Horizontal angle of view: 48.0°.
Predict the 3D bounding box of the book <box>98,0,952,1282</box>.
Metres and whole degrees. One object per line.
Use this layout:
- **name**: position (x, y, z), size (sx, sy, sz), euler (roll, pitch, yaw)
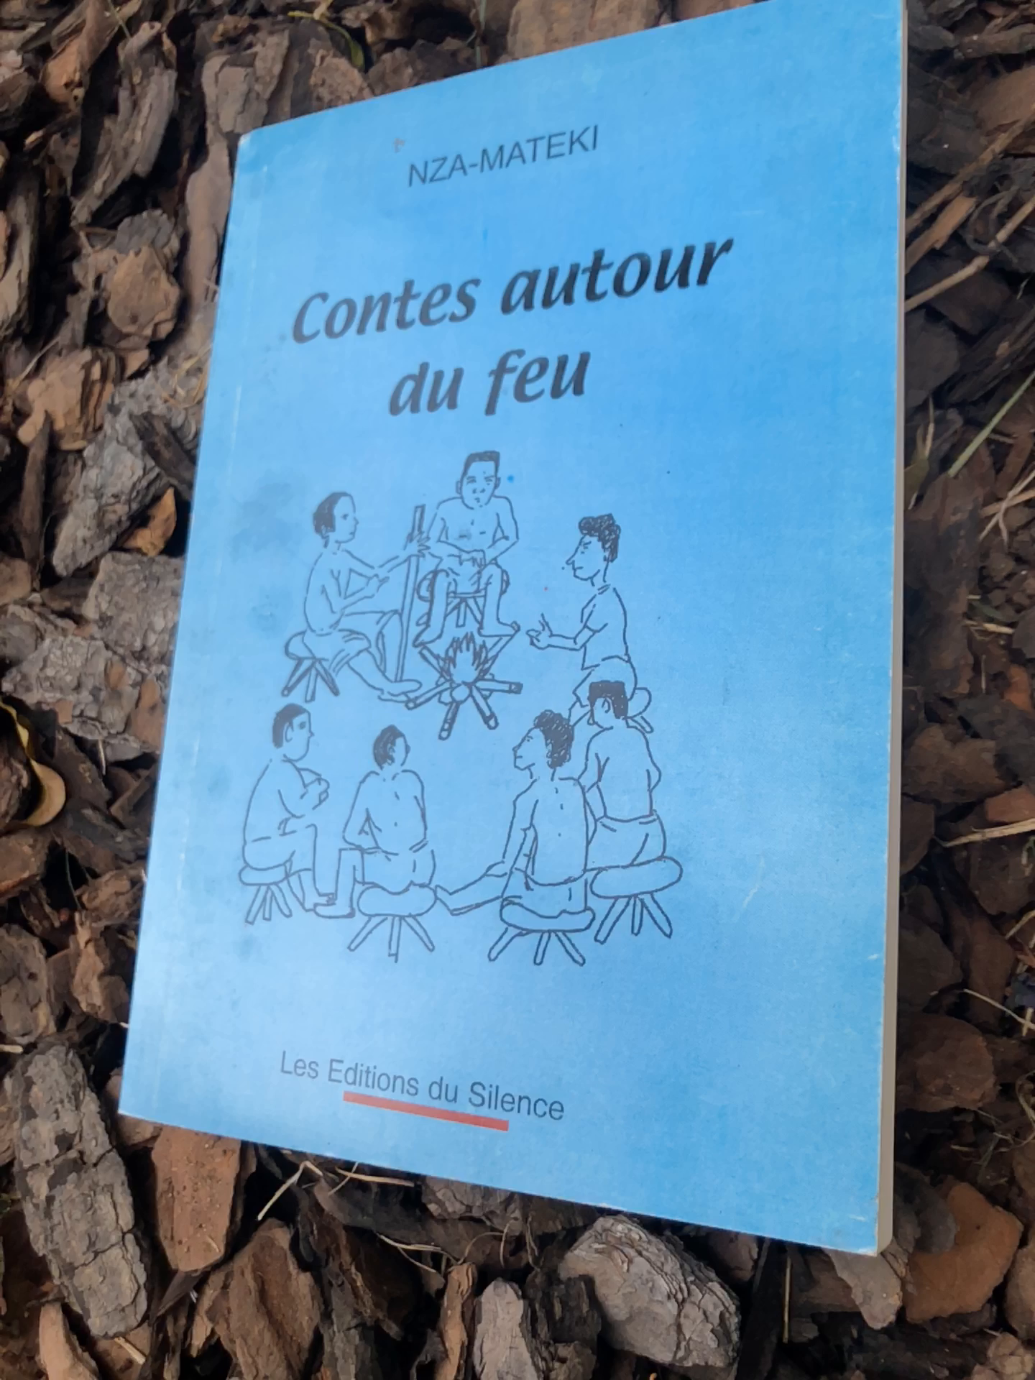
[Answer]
- **book**: position (-0.001, -0.020, 0.207), size (0.144, 0.015, 0.201), euler (0, 79, 25)
